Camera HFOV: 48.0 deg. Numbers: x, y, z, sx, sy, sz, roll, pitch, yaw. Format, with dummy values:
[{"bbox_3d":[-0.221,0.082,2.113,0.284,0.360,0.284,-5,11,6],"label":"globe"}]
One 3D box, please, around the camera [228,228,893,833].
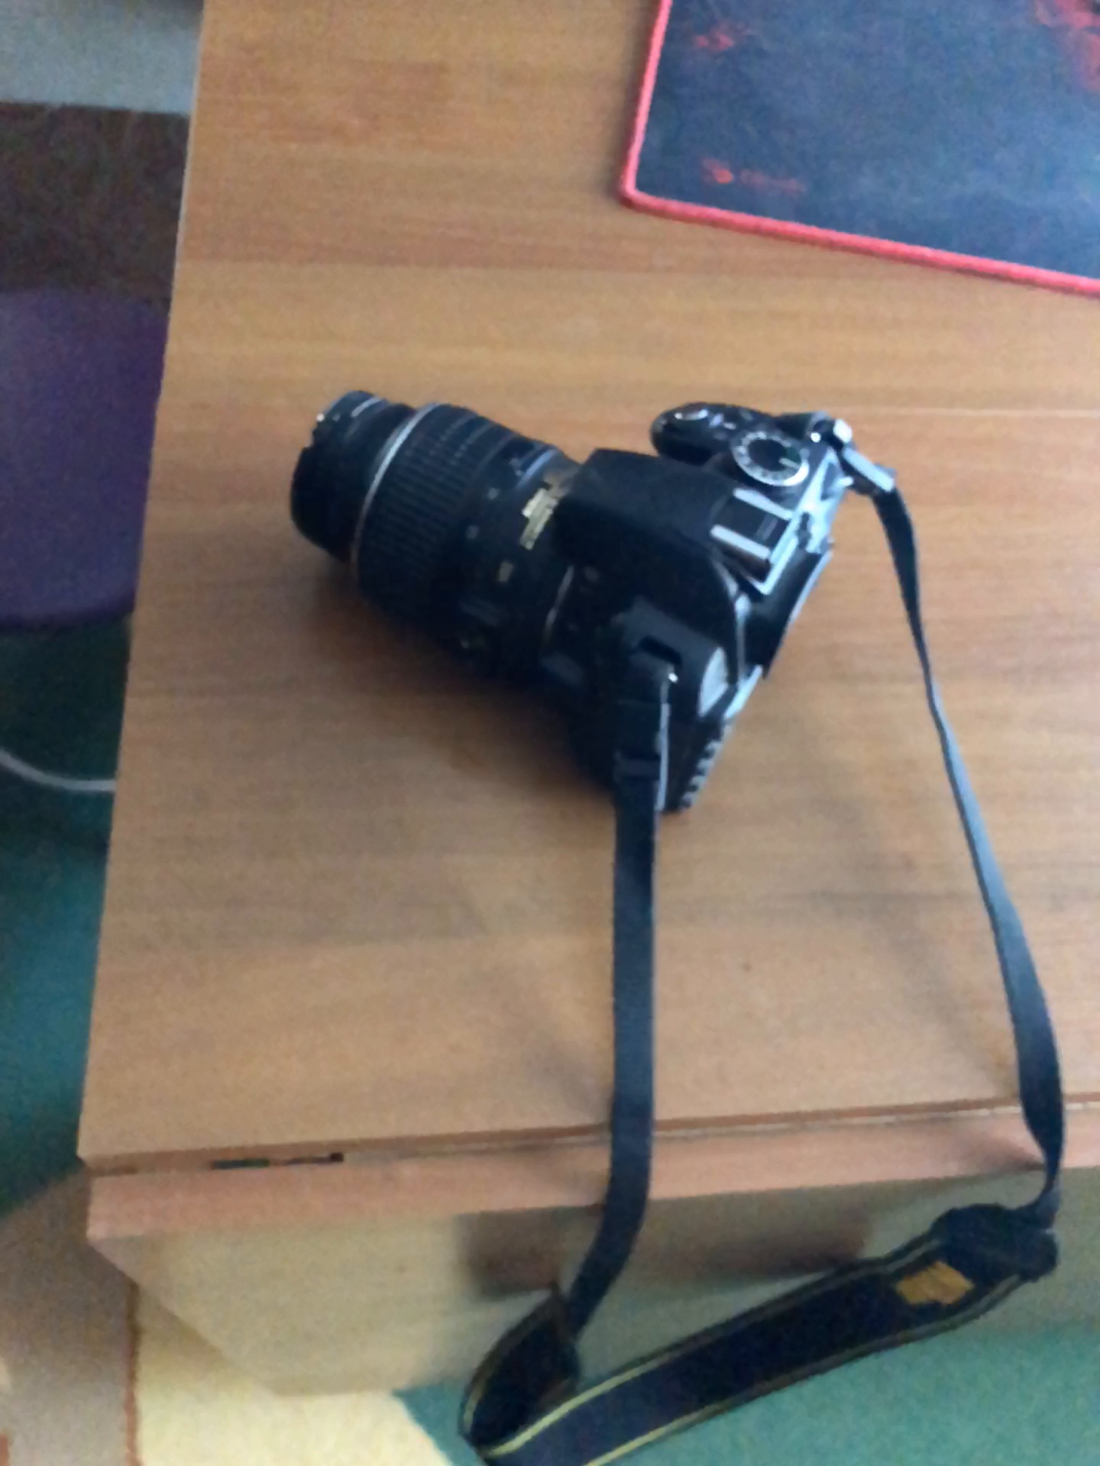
[{"bbox_3d":[0.003,-0.067,0.392,0.161,0.078,0.111,28,59,10],"label":"camera"}]
